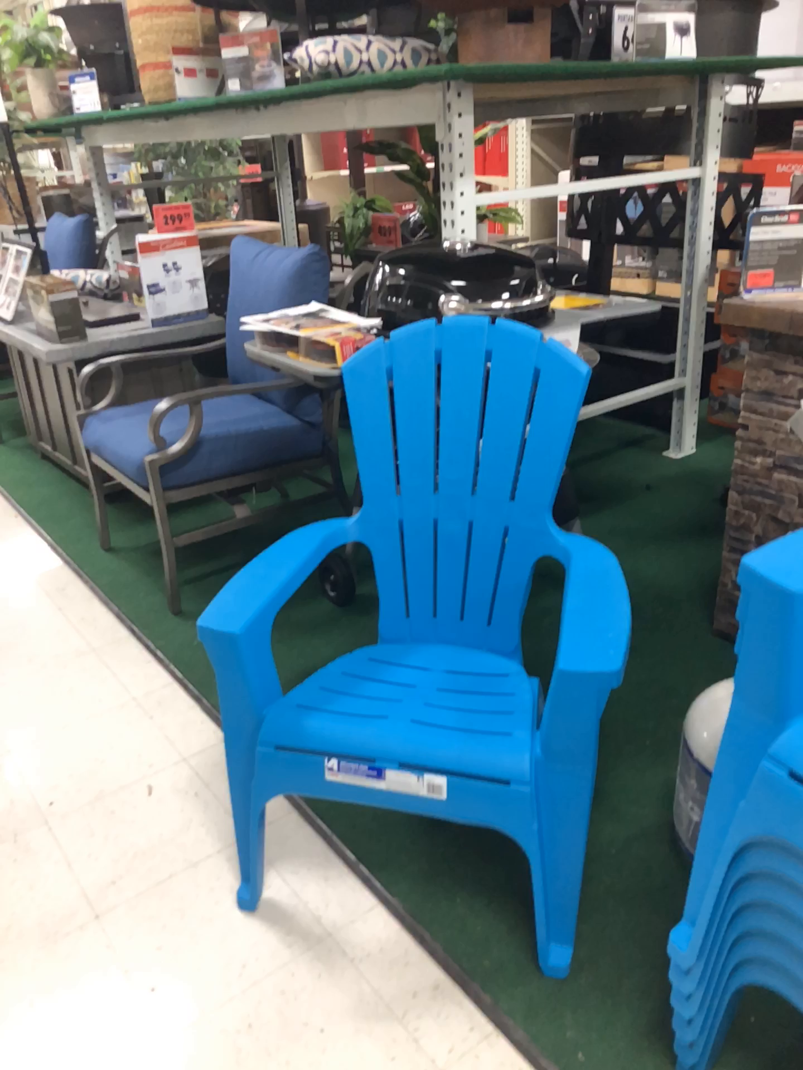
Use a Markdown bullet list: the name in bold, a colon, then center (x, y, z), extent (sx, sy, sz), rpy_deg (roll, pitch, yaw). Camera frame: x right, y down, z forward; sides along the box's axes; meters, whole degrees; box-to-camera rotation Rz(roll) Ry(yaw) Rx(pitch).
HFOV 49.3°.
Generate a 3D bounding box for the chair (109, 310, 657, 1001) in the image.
- **chair**: center (0.055, 0.141, 1.543), extent (0.681, 0.931, 0.650), rpy_deg (4, 26, 16)
